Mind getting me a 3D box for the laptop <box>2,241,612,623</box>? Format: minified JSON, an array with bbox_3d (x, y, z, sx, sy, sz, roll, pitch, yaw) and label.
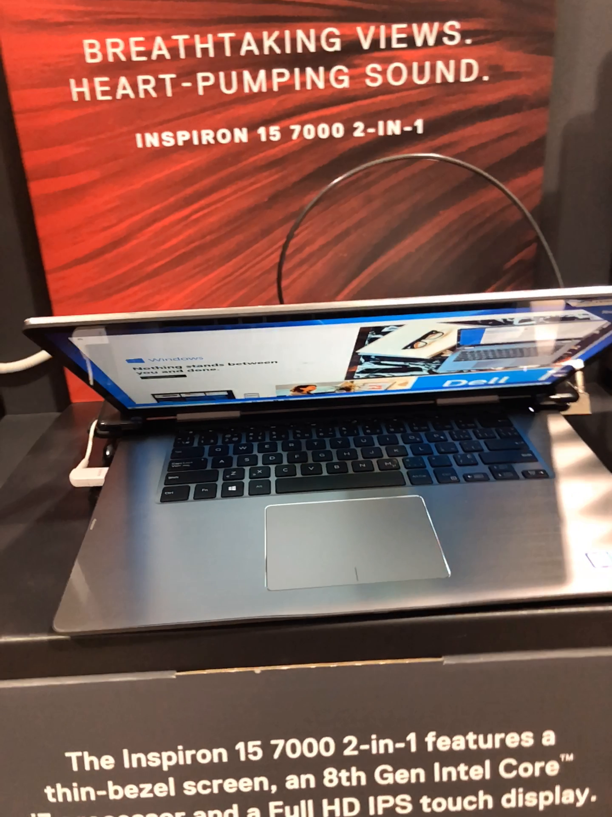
[{"bbox_3d":[0.031,-0.005,0.440,0.355,0.137,0.213,-3,25,-1],"label":"laptop"}]
